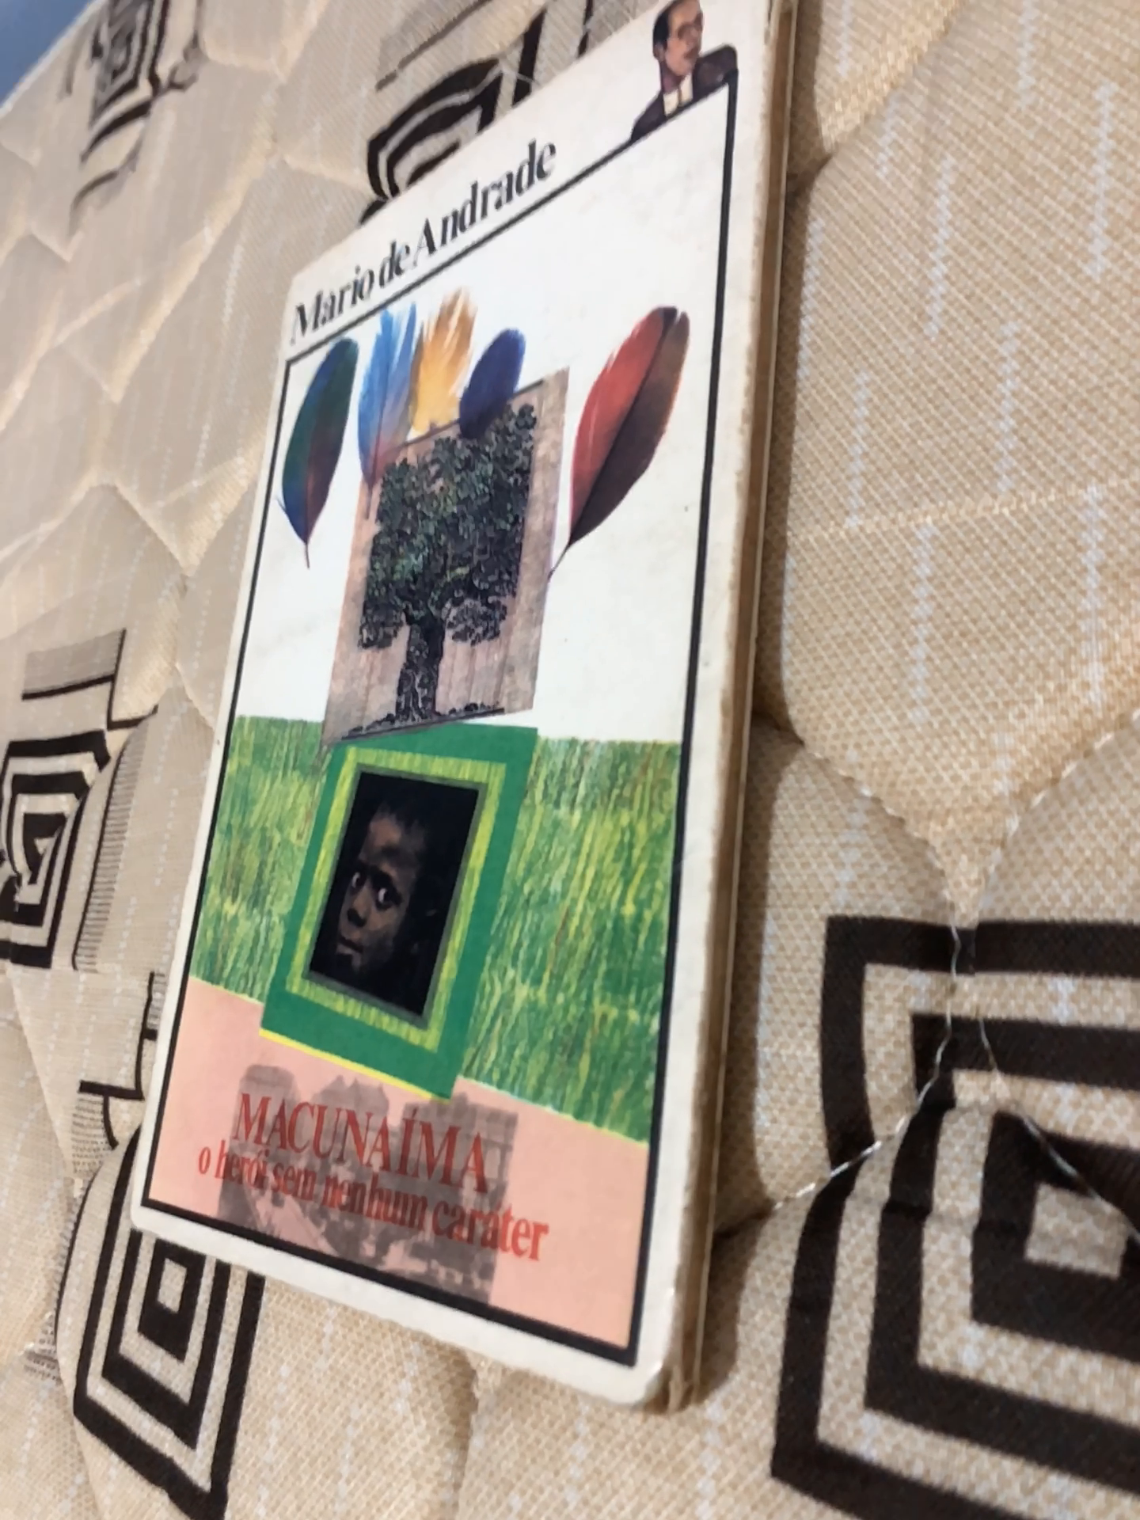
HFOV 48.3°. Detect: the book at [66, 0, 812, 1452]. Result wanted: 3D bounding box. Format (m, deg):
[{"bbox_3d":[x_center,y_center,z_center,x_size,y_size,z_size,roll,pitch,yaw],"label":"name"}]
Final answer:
[{"bbox_3d":[-0.027,-0.012,0.206,0.131,0.020,0.190,-8,70,46],"label":"book"}]
